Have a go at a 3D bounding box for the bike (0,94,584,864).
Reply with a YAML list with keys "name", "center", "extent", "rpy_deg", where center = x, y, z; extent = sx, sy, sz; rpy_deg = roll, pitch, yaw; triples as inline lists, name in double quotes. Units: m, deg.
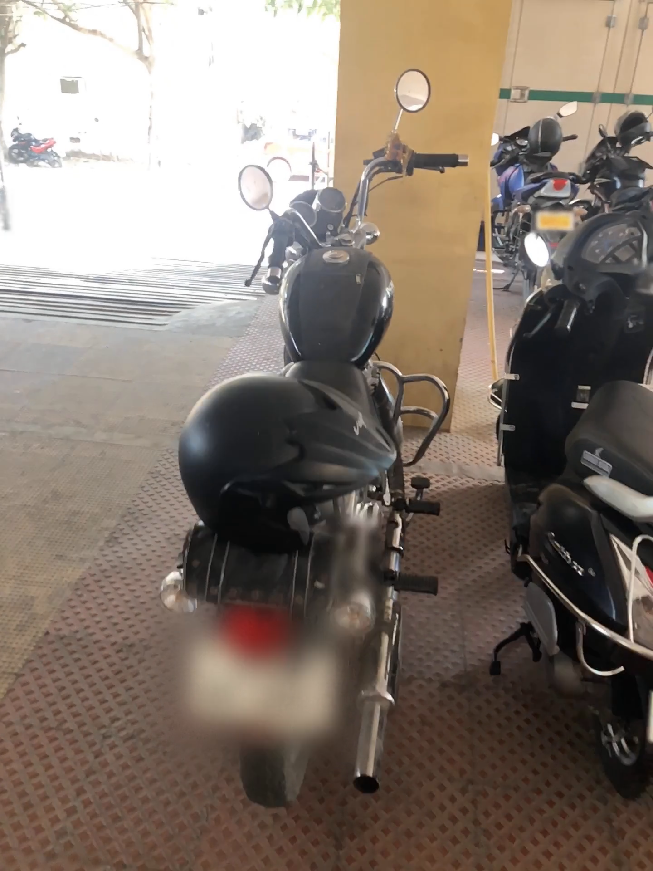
- name: "bike"
  center: [-0.125, -0.162, 1.973]
  extent: [0.783, 1.178, 1.819]
  rpy_deg: [2, 31, -2]
